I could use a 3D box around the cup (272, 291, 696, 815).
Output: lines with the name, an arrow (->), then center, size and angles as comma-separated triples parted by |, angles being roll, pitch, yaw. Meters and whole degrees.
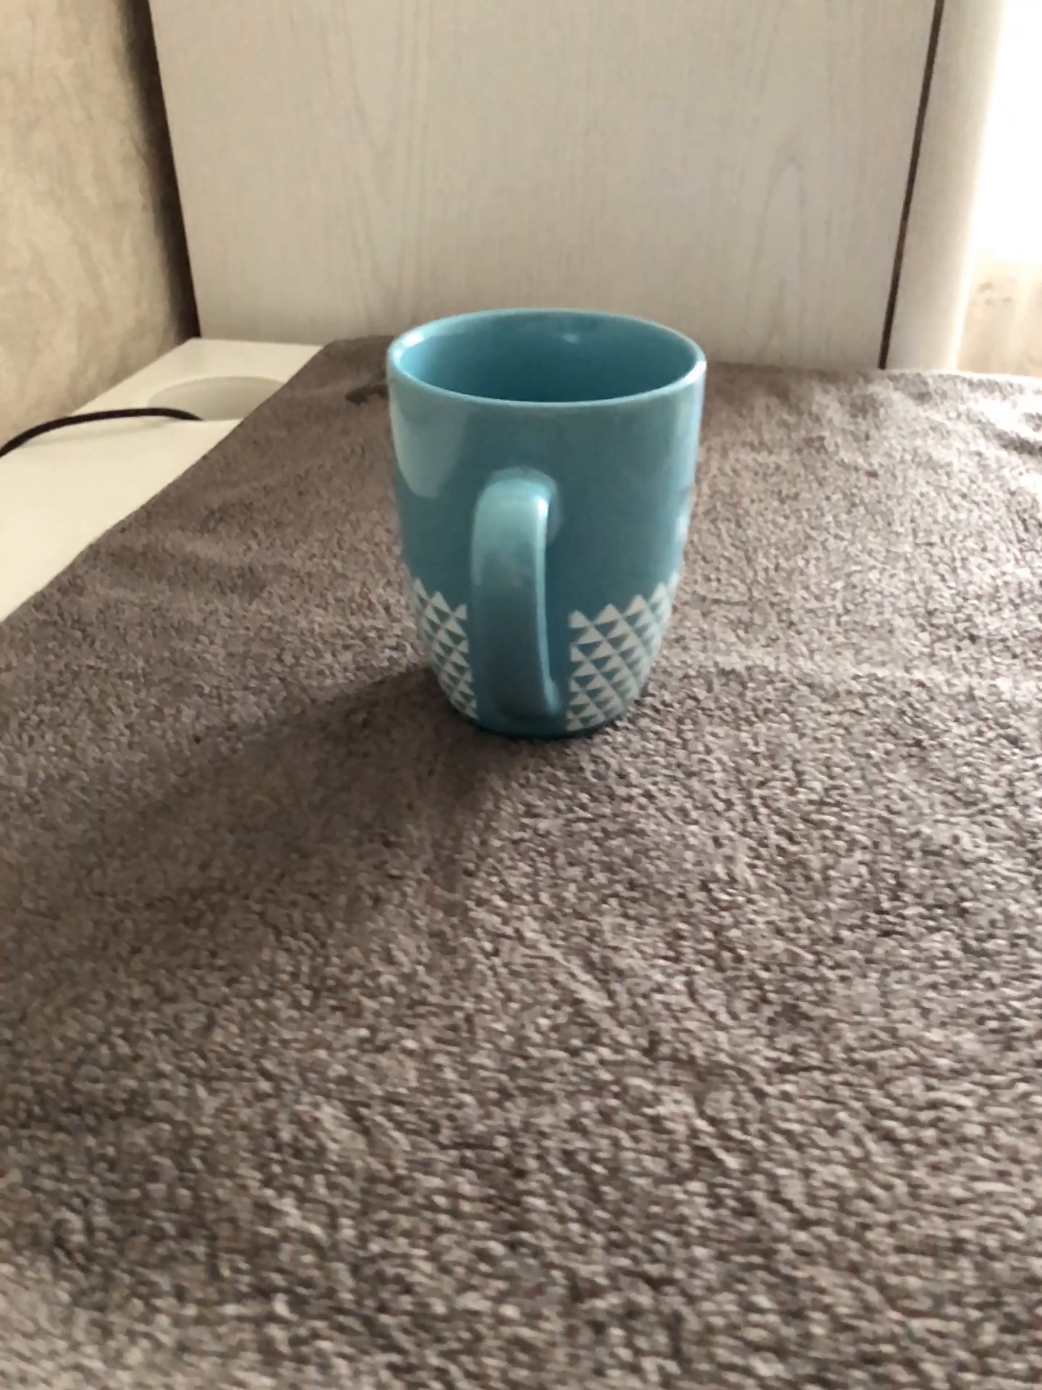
cup -> 0.000, -0.046, 0.309 | 0.087, 0.090, 0.126 | 4, 32, 6
